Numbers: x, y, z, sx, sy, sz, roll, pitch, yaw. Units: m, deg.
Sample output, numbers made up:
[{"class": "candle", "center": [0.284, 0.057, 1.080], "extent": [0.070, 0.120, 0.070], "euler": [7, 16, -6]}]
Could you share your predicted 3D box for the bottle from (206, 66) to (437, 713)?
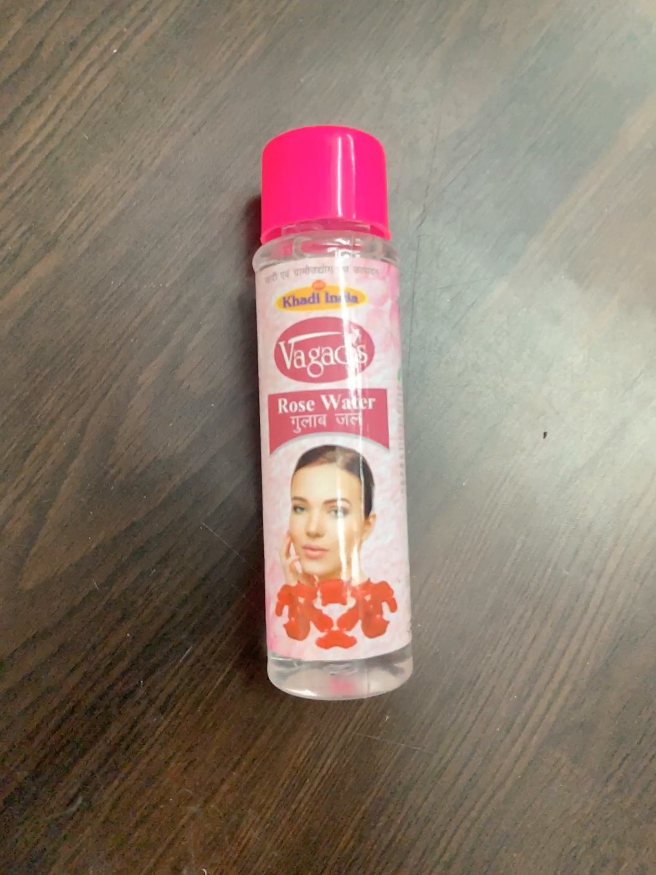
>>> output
[{"class": "bottle", "center": [-0.003, -0.010, 0.170], "extent": [0.050, 0.040, 0.140], "euler": [-1, 92, -5]}]
